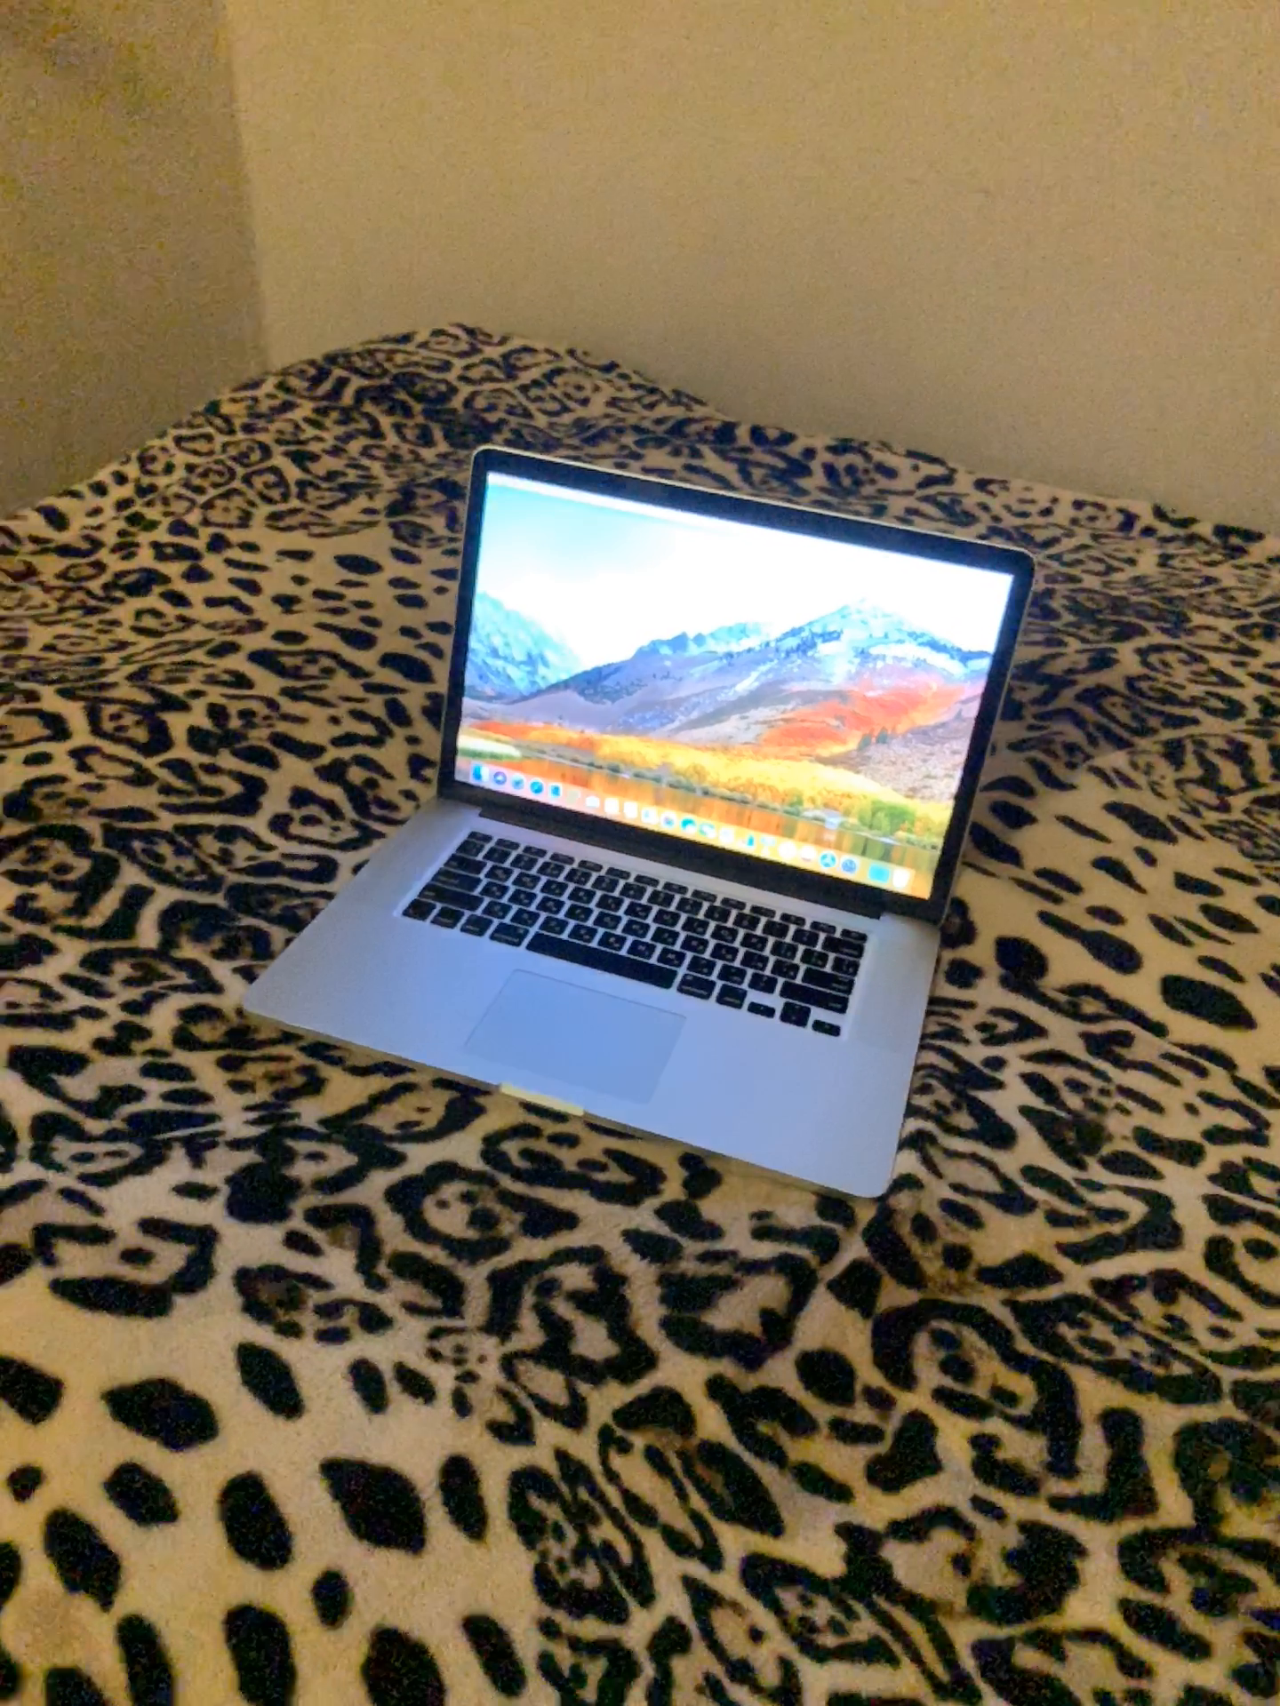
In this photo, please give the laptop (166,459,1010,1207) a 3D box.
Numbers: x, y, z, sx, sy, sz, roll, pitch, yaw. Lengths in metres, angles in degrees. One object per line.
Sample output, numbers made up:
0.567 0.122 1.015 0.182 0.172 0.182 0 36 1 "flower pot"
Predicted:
-0.002 -0.038 0.725 0.348 0.222 0.301 14 35 13 "laptop"
